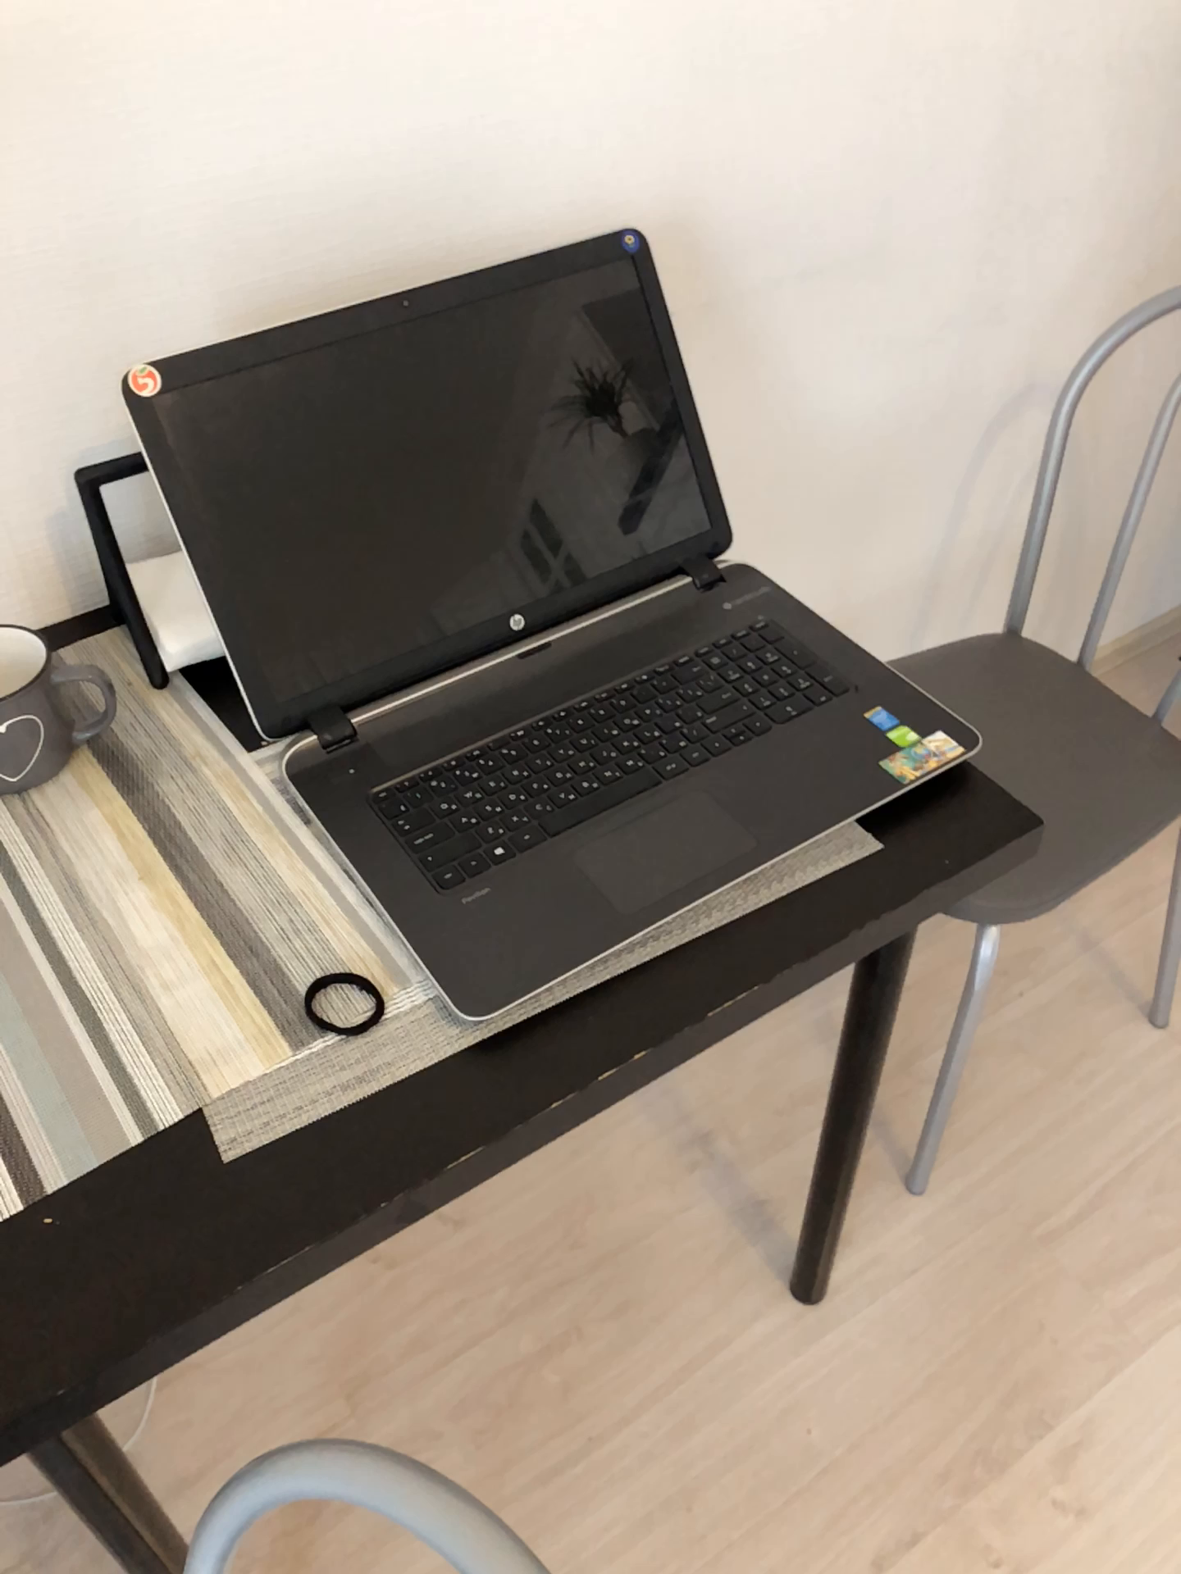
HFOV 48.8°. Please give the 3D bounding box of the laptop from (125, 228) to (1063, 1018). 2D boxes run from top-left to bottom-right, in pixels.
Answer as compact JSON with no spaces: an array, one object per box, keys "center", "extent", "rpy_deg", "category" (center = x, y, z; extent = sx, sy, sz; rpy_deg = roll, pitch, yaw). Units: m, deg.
[{"center":[-0.012,-0.149,0.878],"extent":[0.416,0.227,0.414],"rpy_deg":[-26,49,-23],"category":"laptop"}]
